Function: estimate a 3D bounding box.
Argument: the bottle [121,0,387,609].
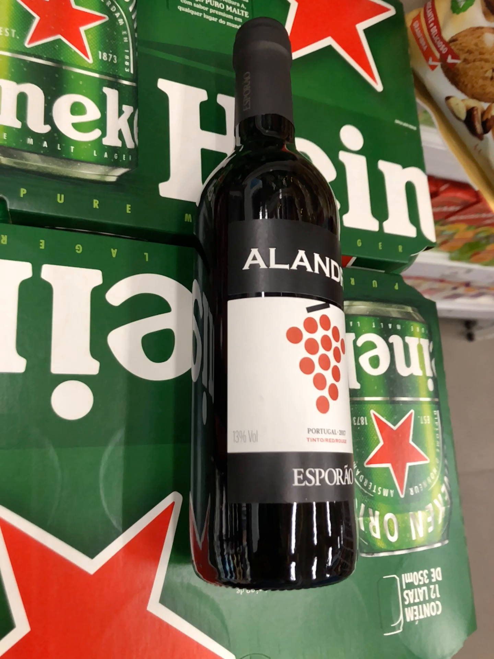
[{"bbox_3d":[-0.005,-0.037,0.207,0.060,0.060,0.240,7,73,-38],"label":"bottle"}]
